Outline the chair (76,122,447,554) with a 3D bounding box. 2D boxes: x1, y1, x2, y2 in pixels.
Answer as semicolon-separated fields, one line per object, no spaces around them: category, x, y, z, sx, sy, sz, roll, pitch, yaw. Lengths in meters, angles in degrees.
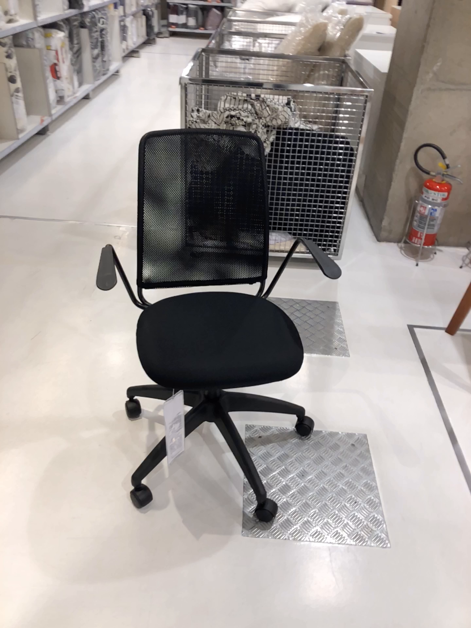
chair;-0.030;0.014;1.350;0.631;0.814;0.695;-5;35;-12
